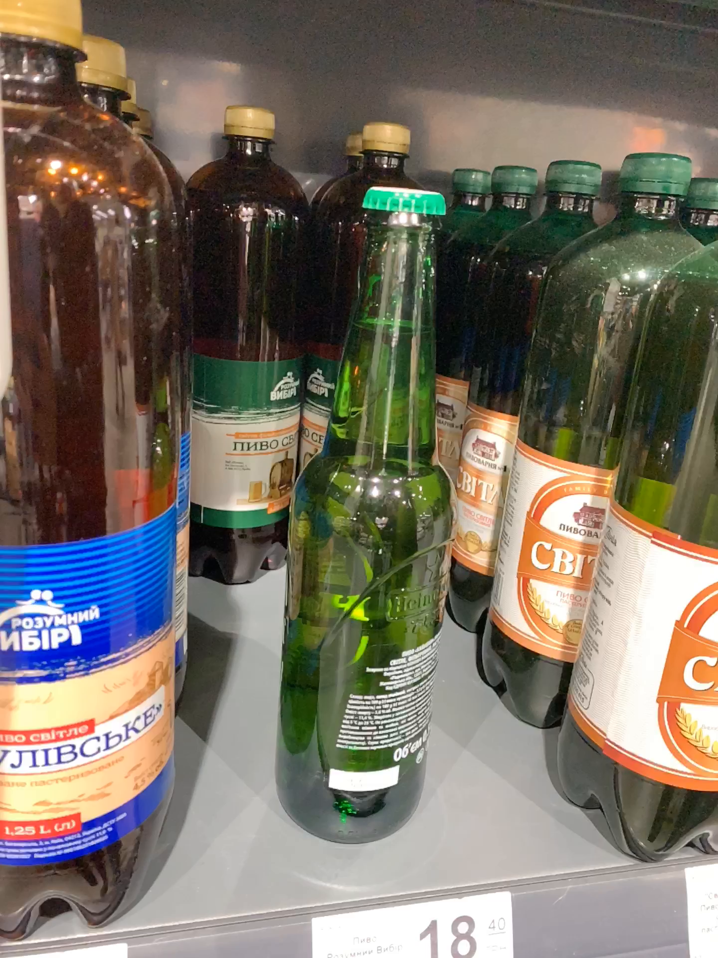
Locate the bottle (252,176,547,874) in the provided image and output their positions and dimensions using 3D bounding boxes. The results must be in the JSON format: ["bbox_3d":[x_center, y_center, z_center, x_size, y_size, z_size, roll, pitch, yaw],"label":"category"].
[{"bbox_3d":[0.008,0.020,0.288,0.067,0.248,0.061,4,19,-2],"label":"bottle"}]

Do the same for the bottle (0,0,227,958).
[{"bbox_3d":[-0.090,0.002,0.229,0.080,0.288,0.074,4,19,-2],"label":"bottle"}]
